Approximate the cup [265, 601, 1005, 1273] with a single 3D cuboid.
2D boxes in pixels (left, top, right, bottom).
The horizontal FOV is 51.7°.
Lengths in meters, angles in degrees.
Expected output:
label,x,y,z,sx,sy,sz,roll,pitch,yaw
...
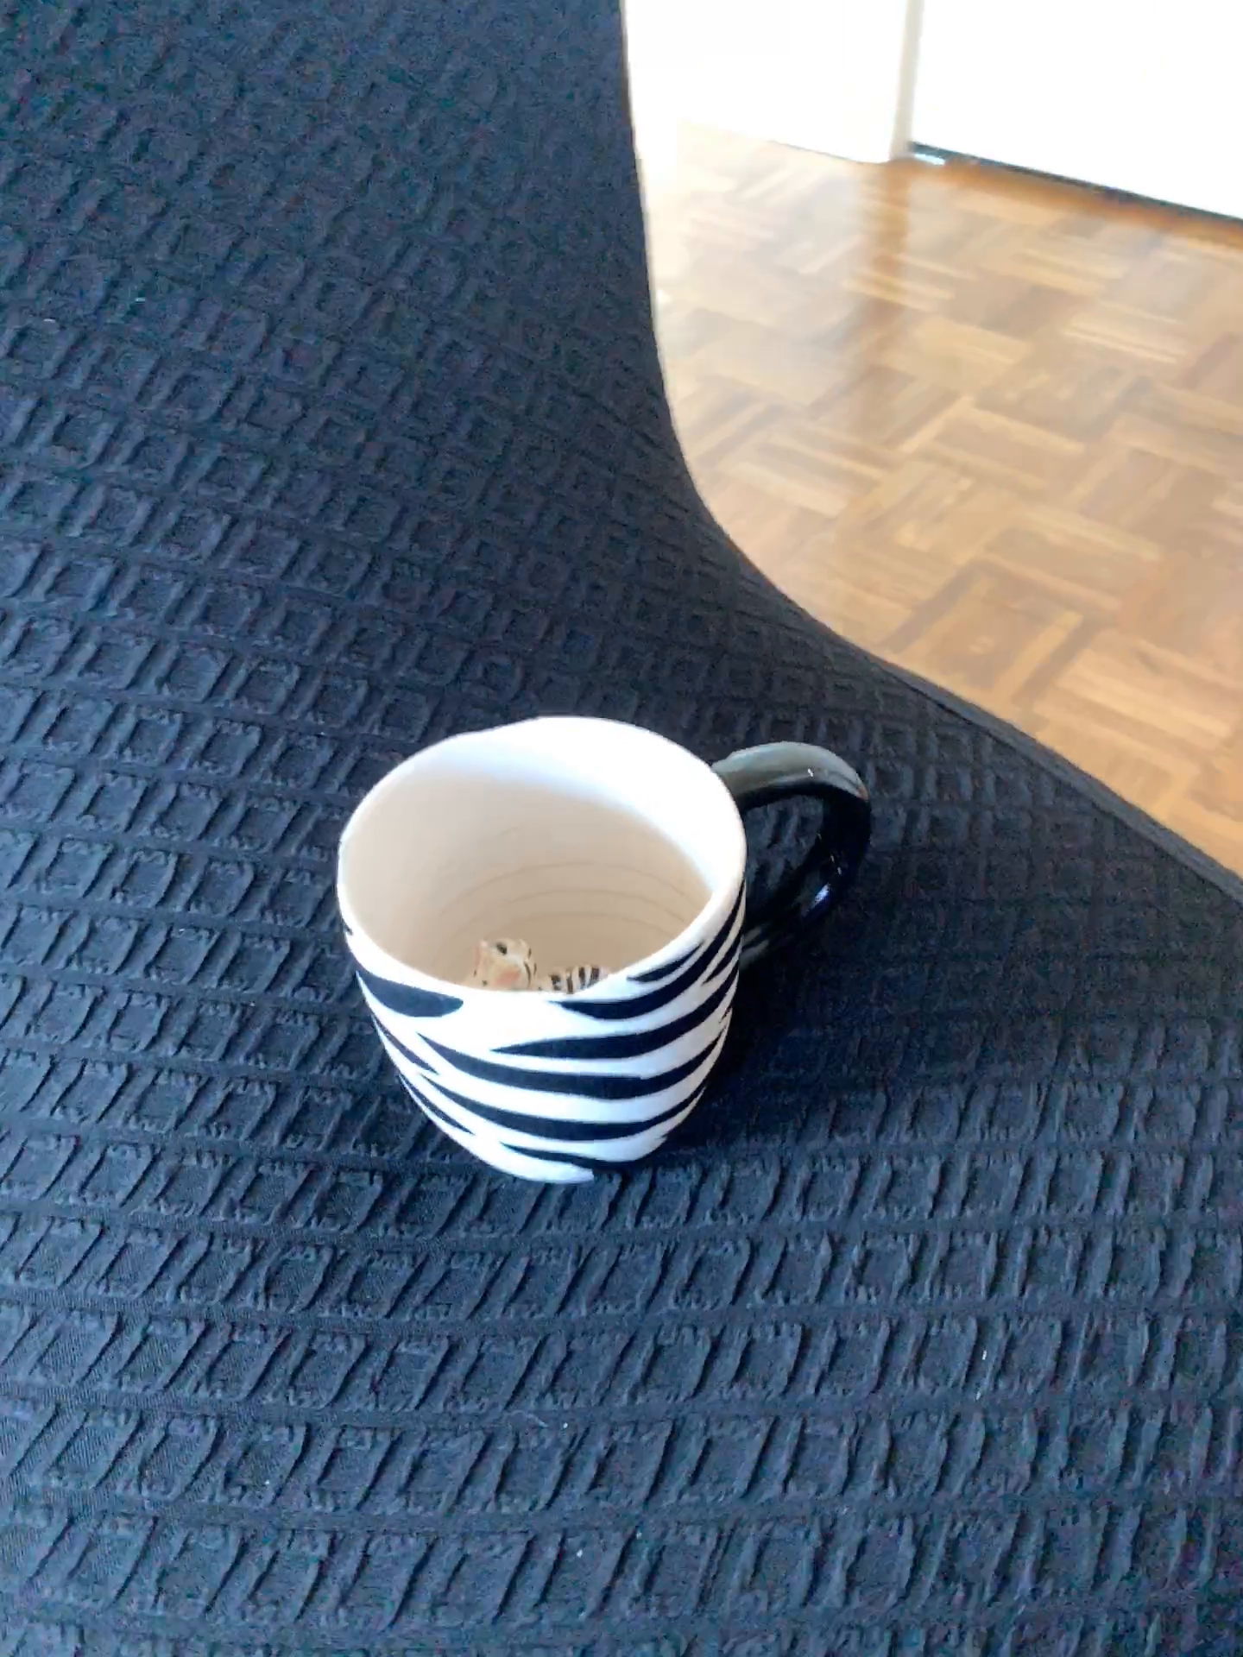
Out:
label,x,y,z,sx,sy,sz,roll,pitch,yaw
cup,0.003,0.024,0.311,0.140,0.090,0.080,-21,49,-14
